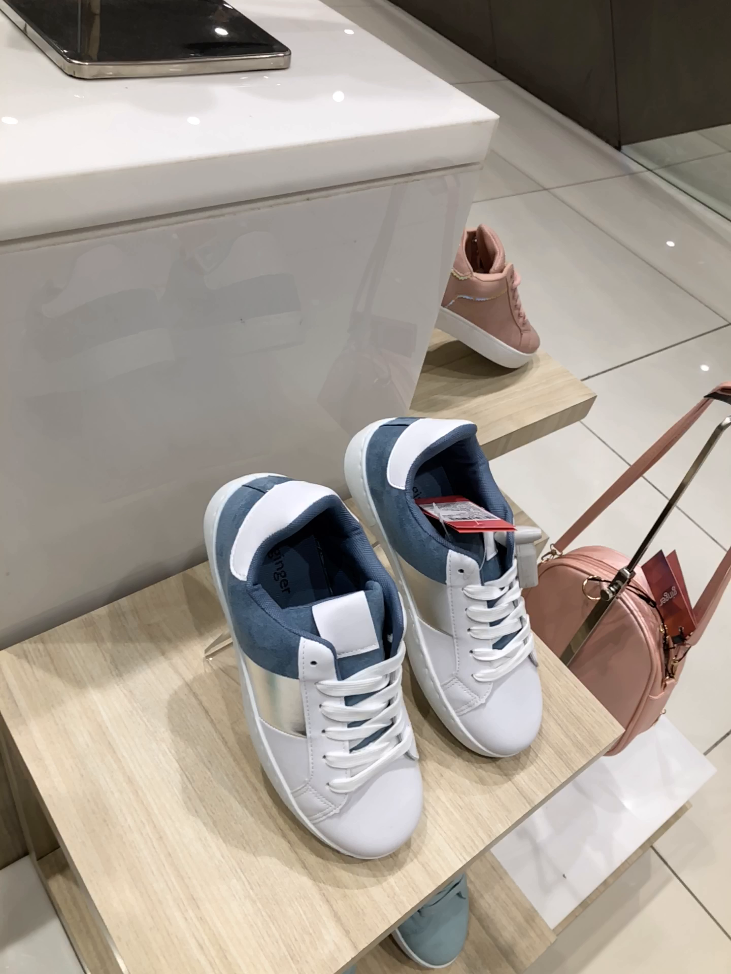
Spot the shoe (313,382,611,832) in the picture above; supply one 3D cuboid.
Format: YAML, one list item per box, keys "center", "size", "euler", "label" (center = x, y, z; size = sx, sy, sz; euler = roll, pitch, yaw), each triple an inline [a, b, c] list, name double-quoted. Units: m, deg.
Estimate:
- center: [0.068, 0.073, 0.547]
  size: [0.102, 0.263, 0.103]
  euler: [-23, 15, -33]
  label: "shoe"

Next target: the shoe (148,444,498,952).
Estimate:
- center: [-0.022, 0.115, 0.478]
  size: [0.092, 0.261, 0.103]
  euler: [-26, 15, -34]
  label: "shoe"
